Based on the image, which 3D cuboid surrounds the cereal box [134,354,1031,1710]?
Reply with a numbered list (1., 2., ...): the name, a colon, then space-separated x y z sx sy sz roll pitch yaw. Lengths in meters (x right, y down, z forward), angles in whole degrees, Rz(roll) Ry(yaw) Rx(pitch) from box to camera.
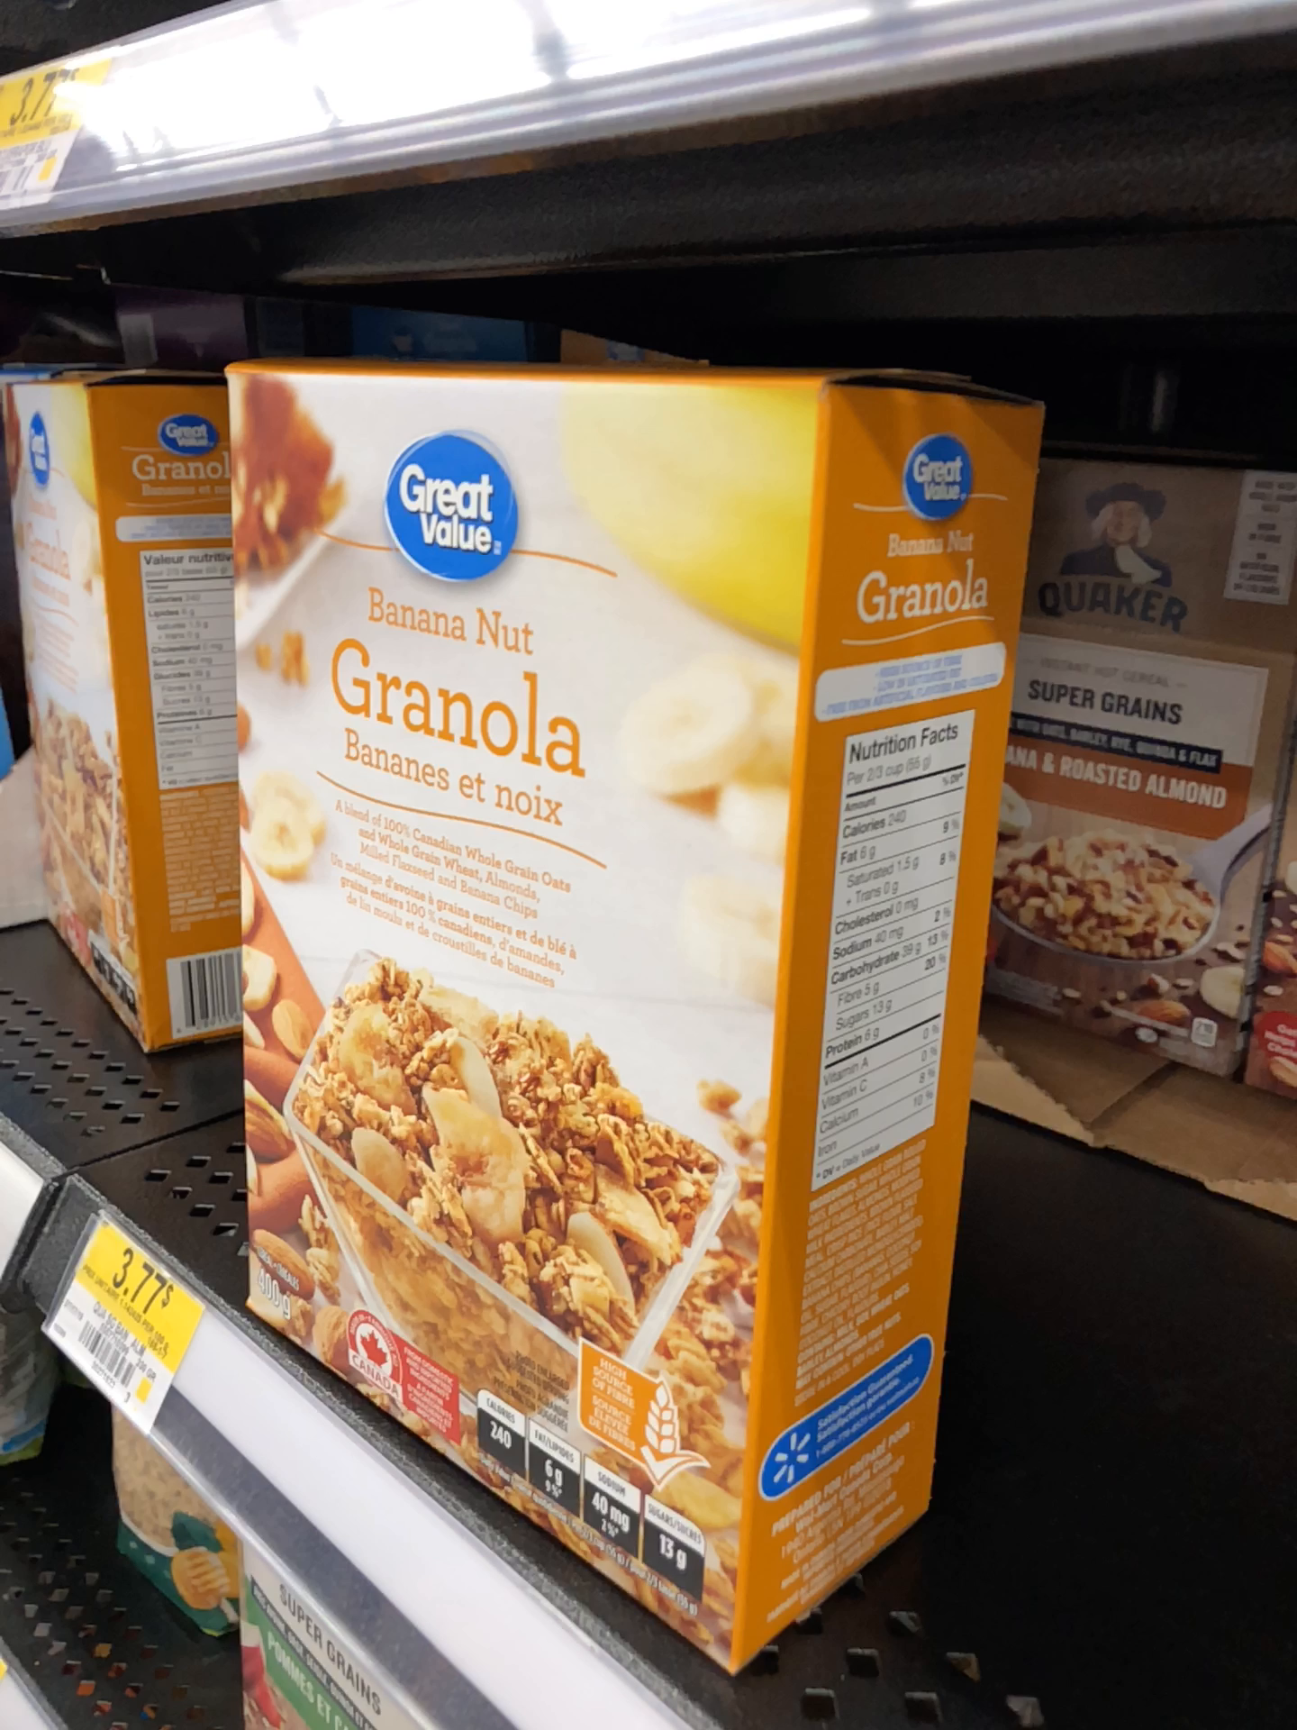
1. cereal box: -0.023 0.014 0.278 0.160 0.209 0.060 17 23 41
